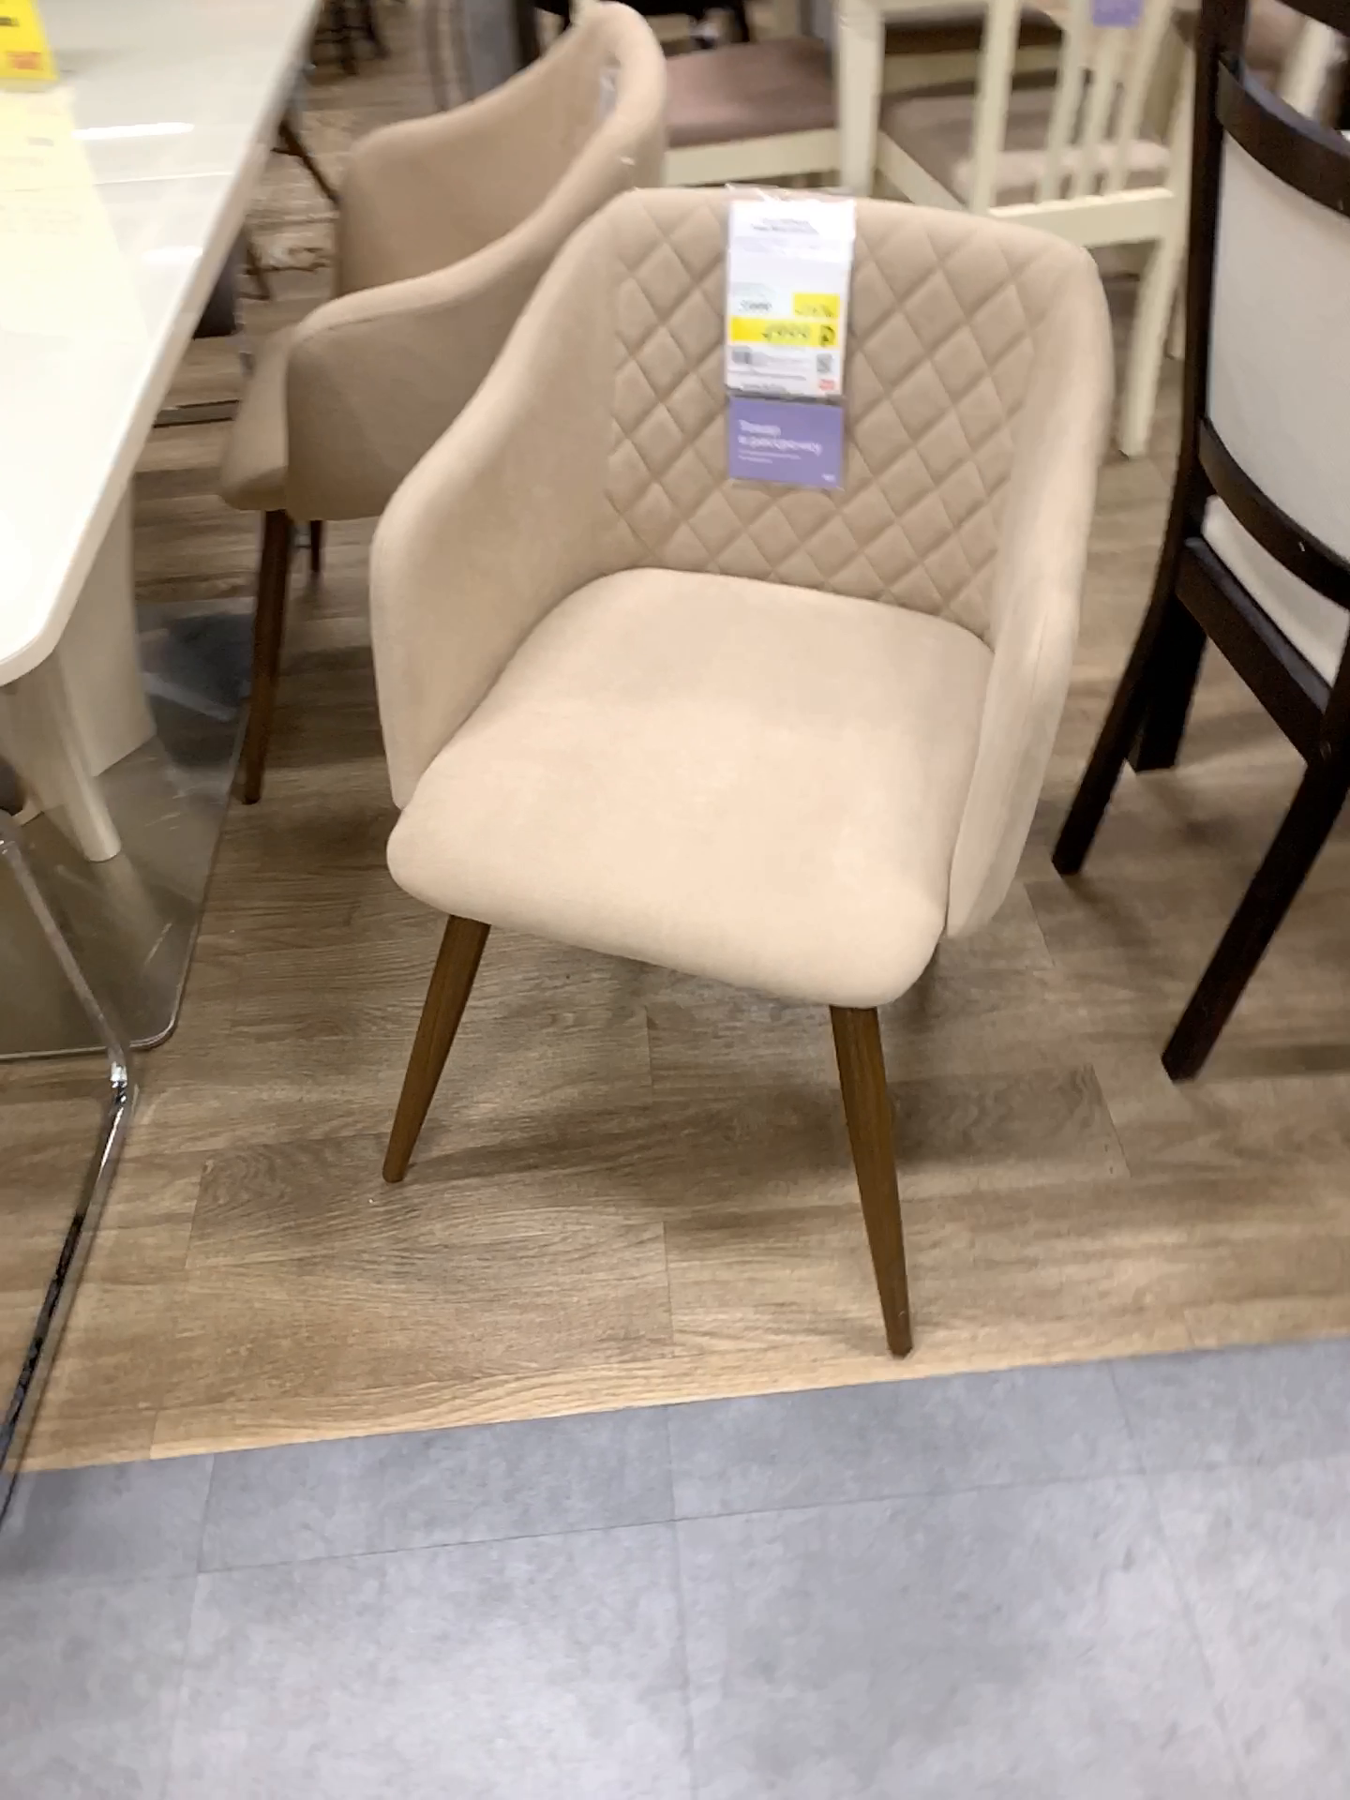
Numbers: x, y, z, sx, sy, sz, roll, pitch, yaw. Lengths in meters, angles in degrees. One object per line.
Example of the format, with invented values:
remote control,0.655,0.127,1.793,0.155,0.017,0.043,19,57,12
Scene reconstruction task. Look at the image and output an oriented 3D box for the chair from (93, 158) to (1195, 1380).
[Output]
chair,0.037,-0.110,1.256,0.600,0.835,0.573,14,47,17
